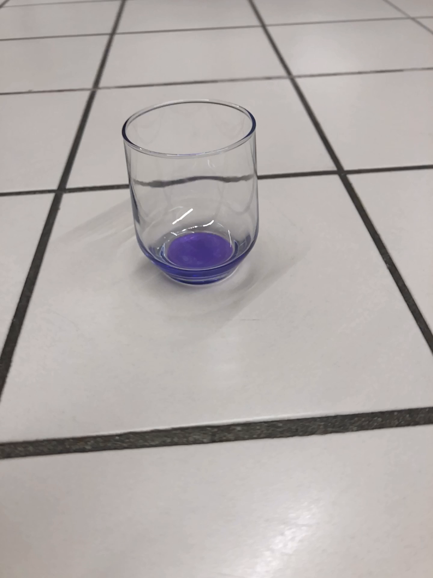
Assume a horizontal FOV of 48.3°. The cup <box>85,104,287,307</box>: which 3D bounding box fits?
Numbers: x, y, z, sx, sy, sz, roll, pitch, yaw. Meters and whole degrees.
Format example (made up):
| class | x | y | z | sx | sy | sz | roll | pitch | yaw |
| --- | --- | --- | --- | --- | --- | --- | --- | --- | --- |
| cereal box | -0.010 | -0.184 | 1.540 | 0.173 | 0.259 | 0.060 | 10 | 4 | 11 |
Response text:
| class | x | y | z | sx | sy | sz | roll | pitch | yaw |
| --- | --- | --- | --- | --- | --- | --- | --- | --- | --- |
| cup | -0.011 | -0.046 | 0.250 | 0.069 | 0.063 | 0.071 | -1 | 42 | 1 |
